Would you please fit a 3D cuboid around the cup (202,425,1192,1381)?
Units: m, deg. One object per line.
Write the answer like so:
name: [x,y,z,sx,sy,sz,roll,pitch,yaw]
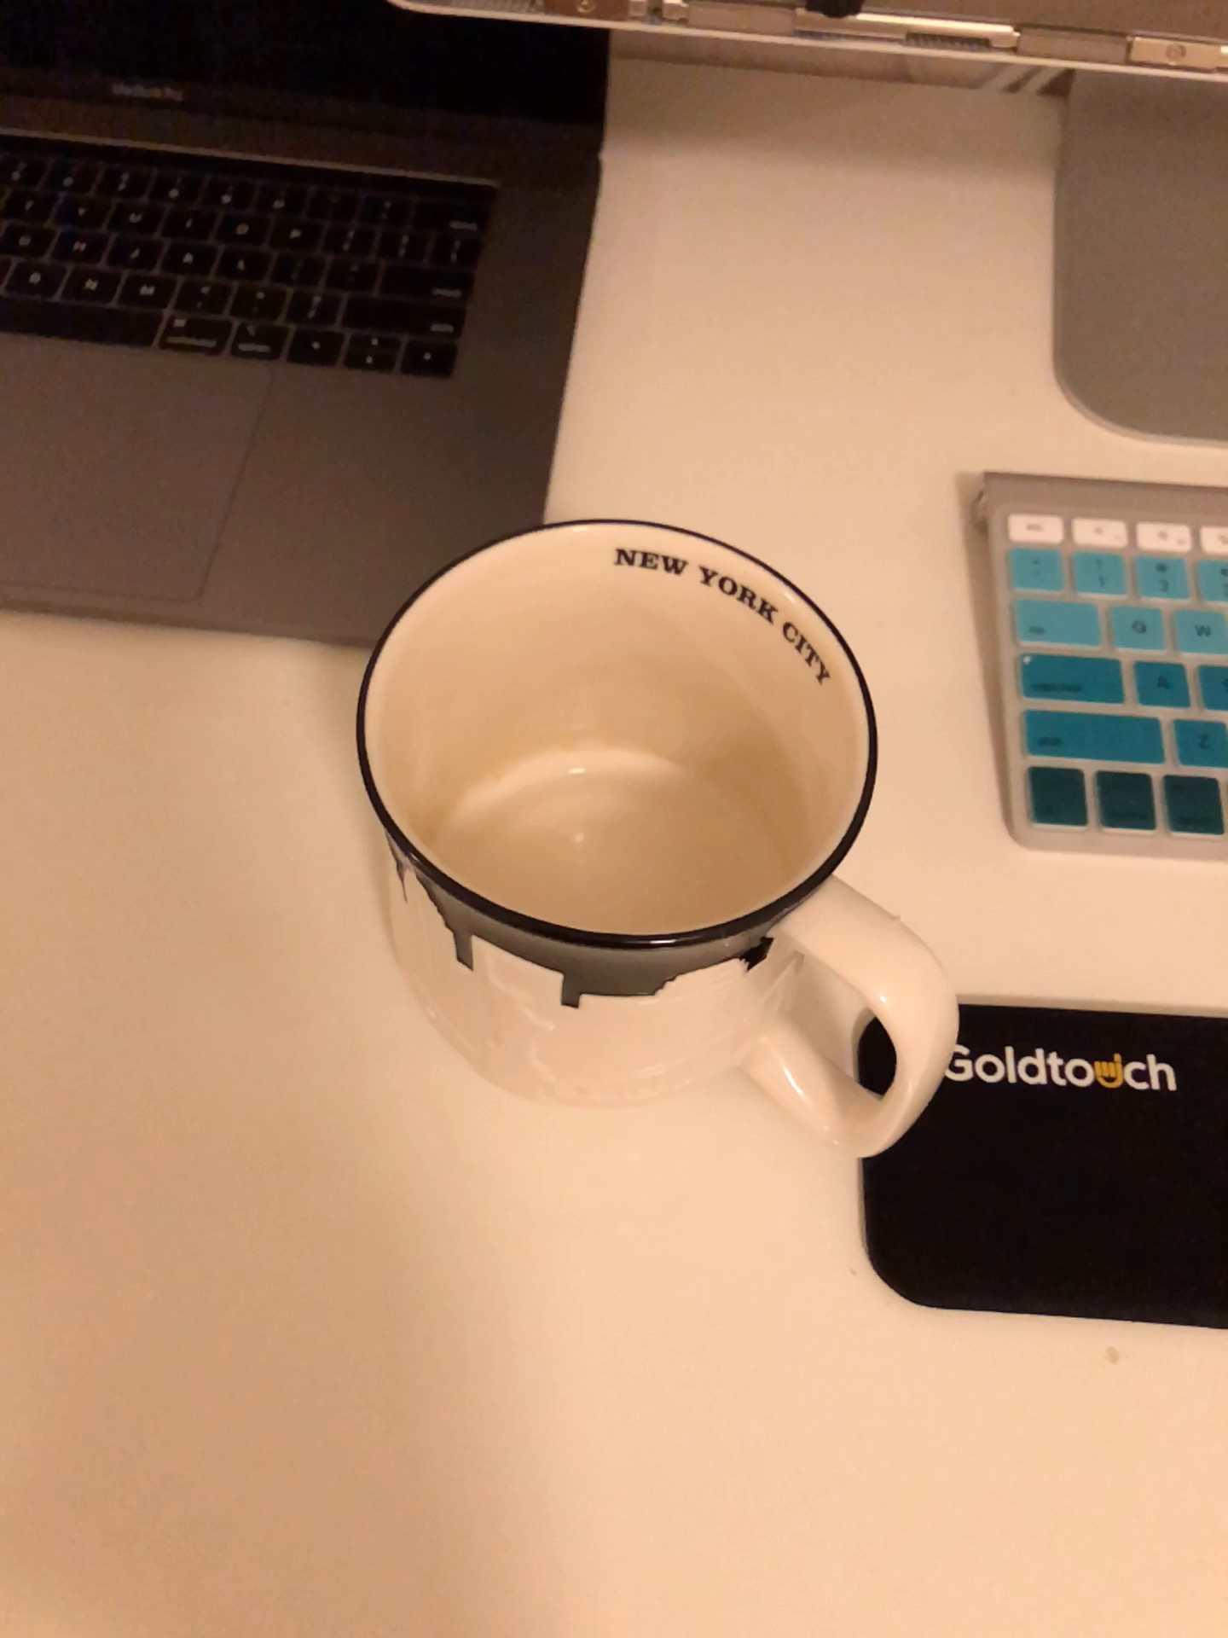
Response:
cup: [0.013,0.015,0.293,0.150,0.090,0.110,40,65,19]
